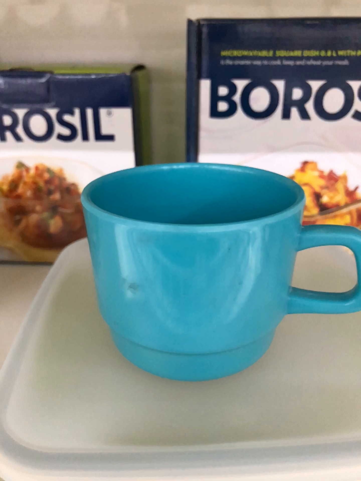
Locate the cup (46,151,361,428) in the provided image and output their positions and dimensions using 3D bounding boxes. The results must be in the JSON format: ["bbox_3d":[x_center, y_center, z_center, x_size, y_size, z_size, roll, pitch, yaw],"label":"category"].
[{"bbox_3d":[0.025,0.009,0.172,0.120,0.070,0.091,3,24,8],"label":"cup"}]
